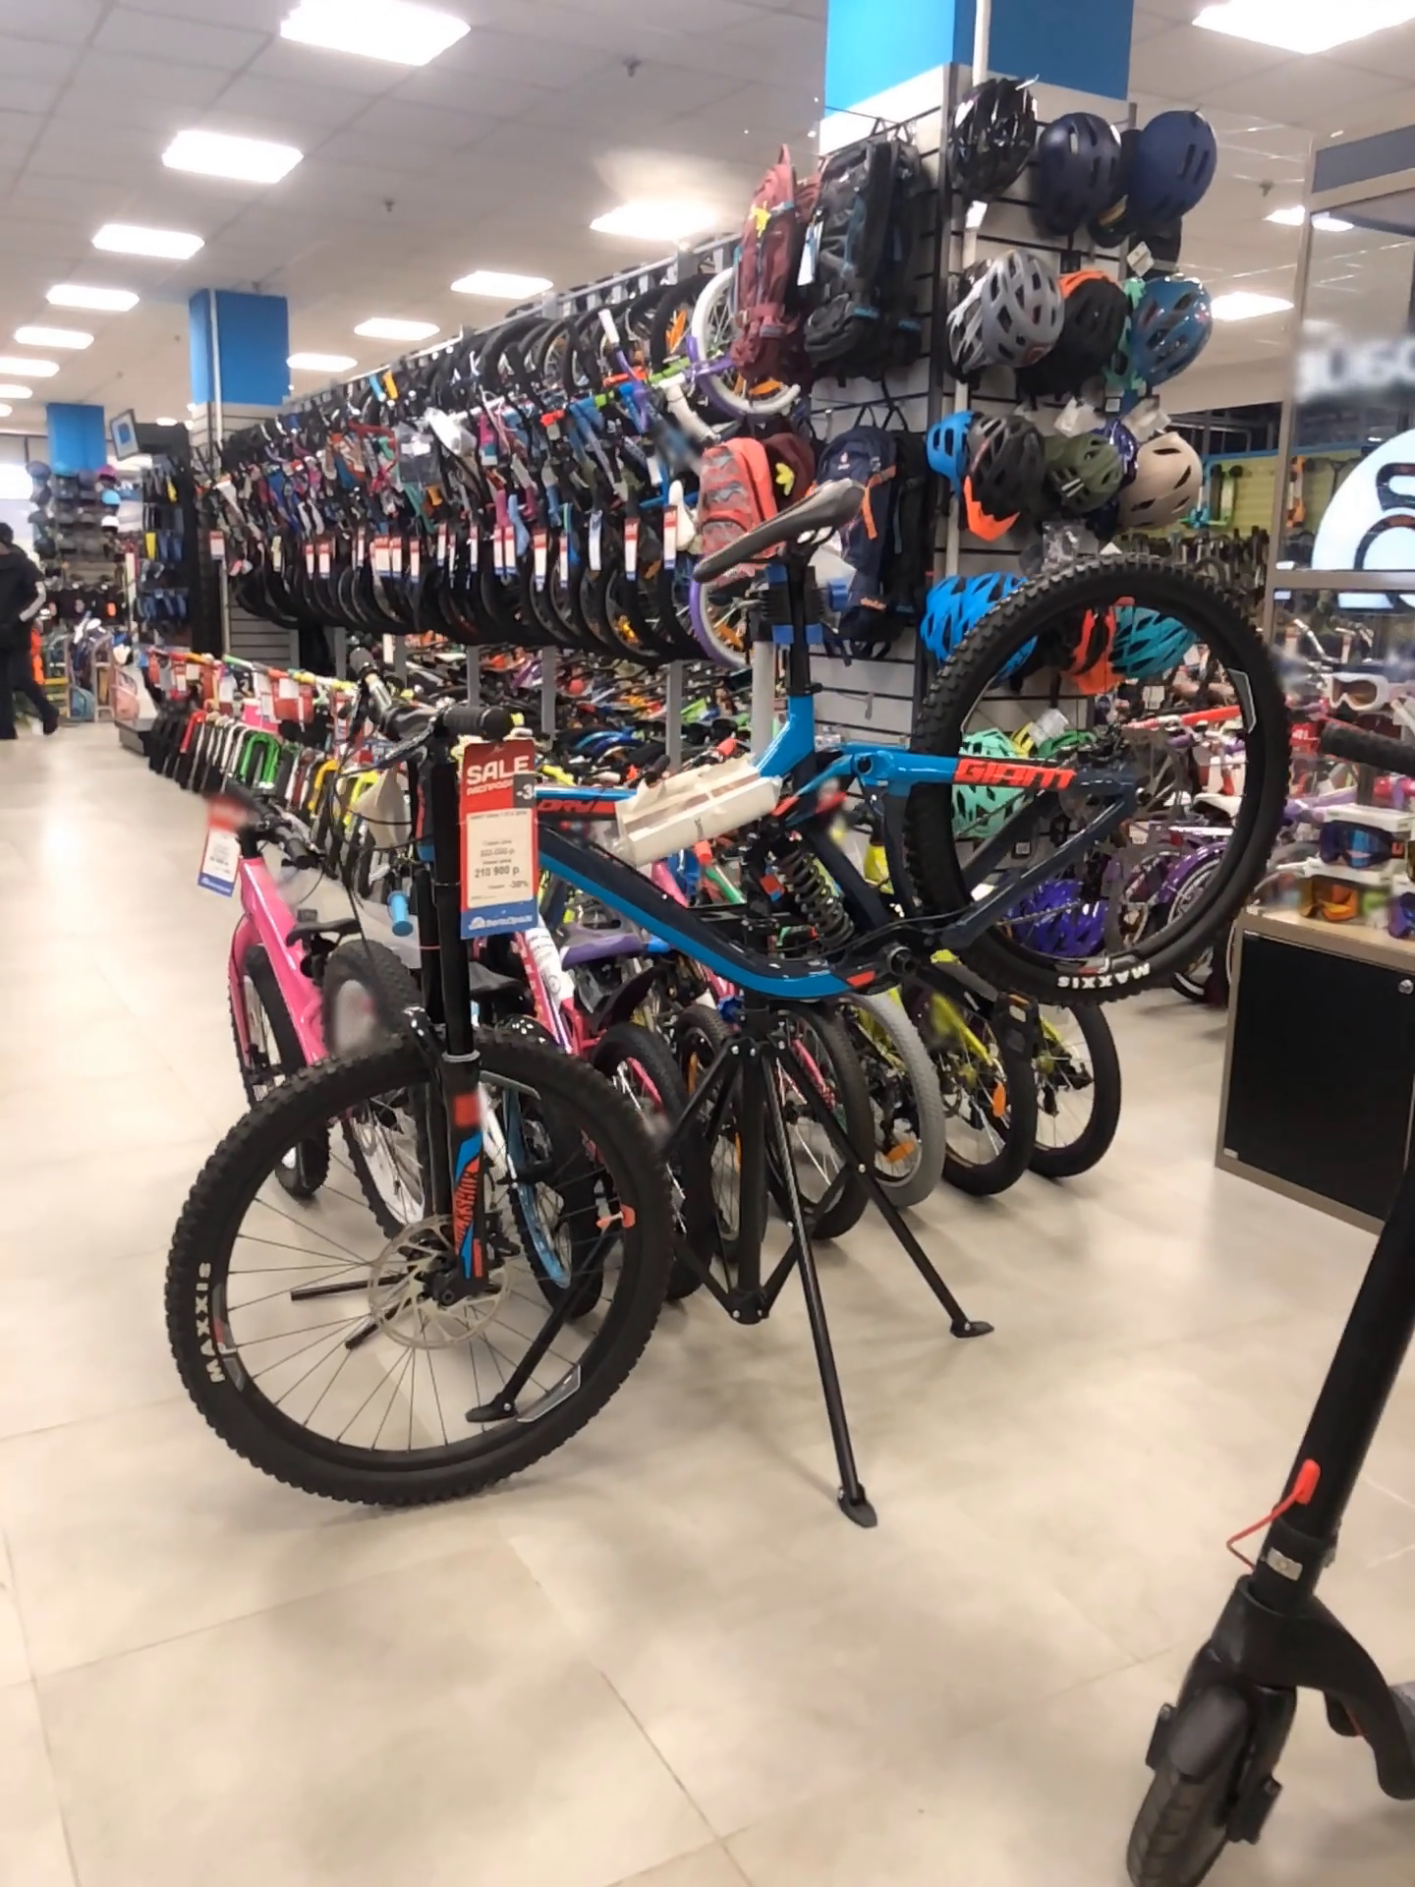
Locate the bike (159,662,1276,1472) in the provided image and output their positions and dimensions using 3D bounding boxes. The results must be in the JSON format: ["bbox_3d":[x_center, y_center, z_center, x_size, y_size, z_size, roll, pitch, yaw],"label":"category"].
[{"bbox_3d":[-0.047,0.065,2.174,1.523,0.182,0.661,-29,21,-11],"label":"bike"}]
